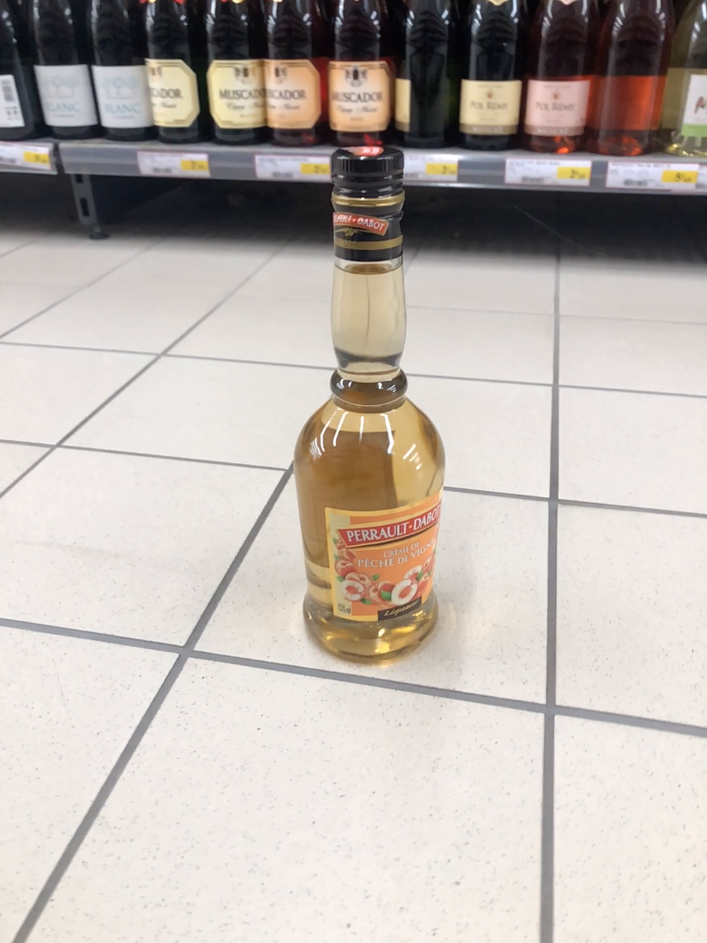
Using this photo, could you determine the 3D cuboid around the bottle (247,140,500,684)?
[{"bbox_3d":[0.008,-0.025,0.391,0.080,0.249,0.080,-1,29,0],"label":"bottle"}]
